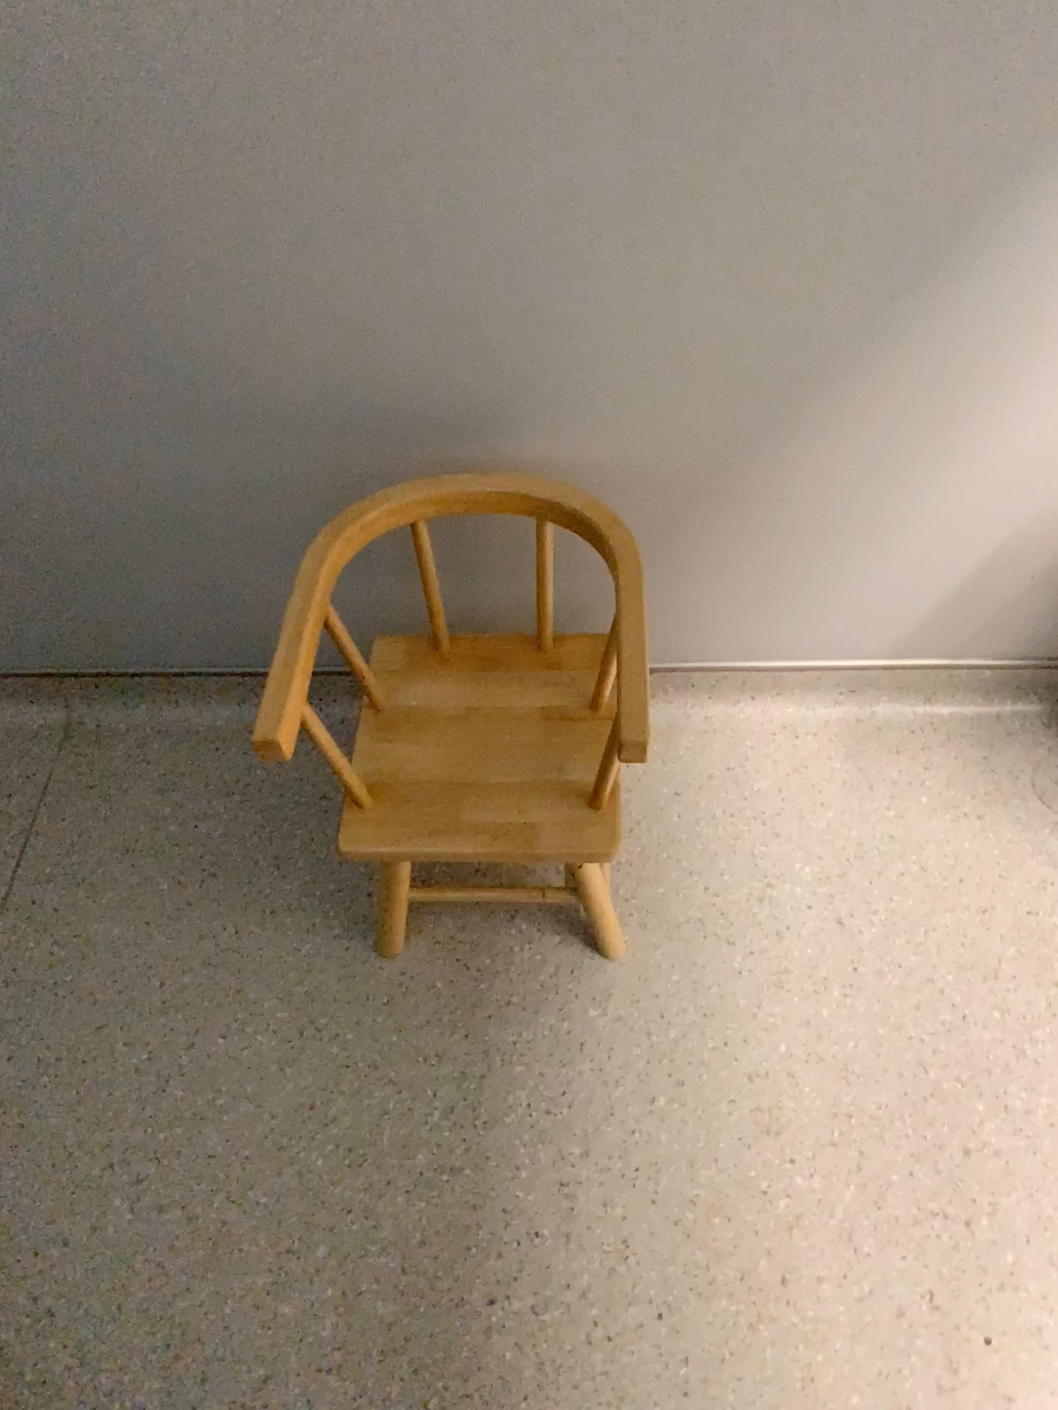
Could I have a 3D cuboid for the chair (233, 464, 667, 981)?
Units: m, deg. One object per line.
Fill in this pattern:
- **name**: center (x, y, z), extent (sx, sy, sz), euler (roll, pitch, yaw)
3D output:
- **chair**: center (-0.036, 0.036, 1.190), extent (0.361, 0.481, 0.345), euler (1, 53, 7)
